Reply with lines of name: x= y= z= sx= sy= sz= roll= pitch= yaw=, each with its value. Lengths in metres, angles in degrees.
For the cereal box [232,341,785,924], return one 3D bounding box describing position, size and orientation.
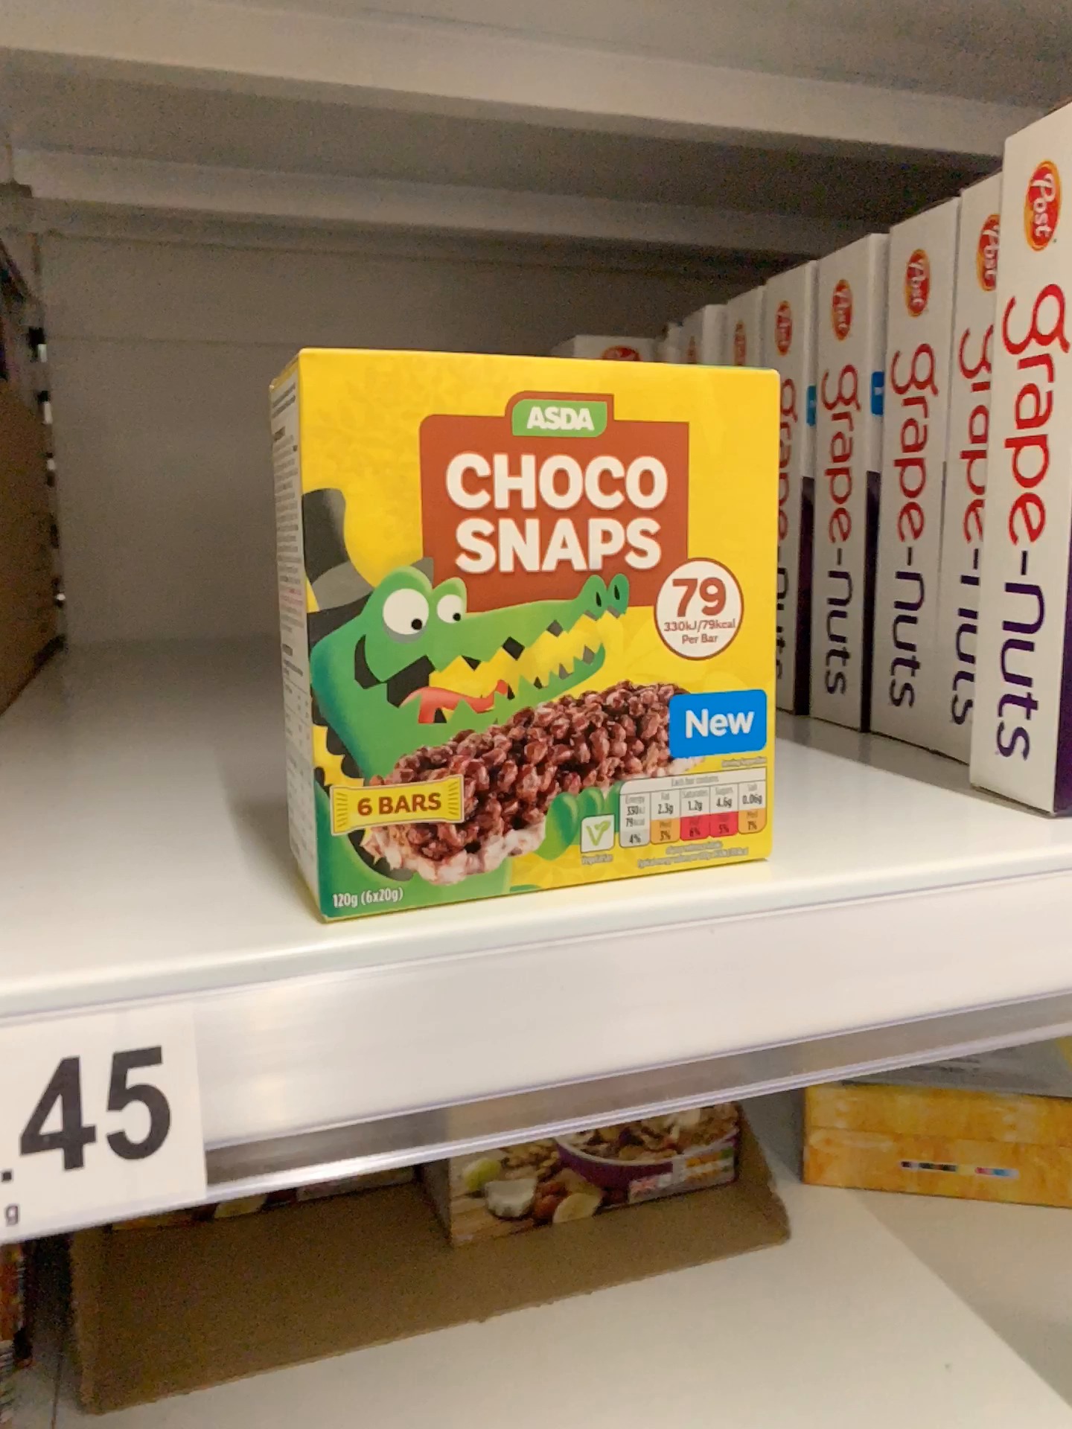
cereal box: x=-0.008 y=-0.026 z=0.303 sx=0.130 sy=0.130 sz=0.070 roll=-4 pitch=9 yaw=-22
